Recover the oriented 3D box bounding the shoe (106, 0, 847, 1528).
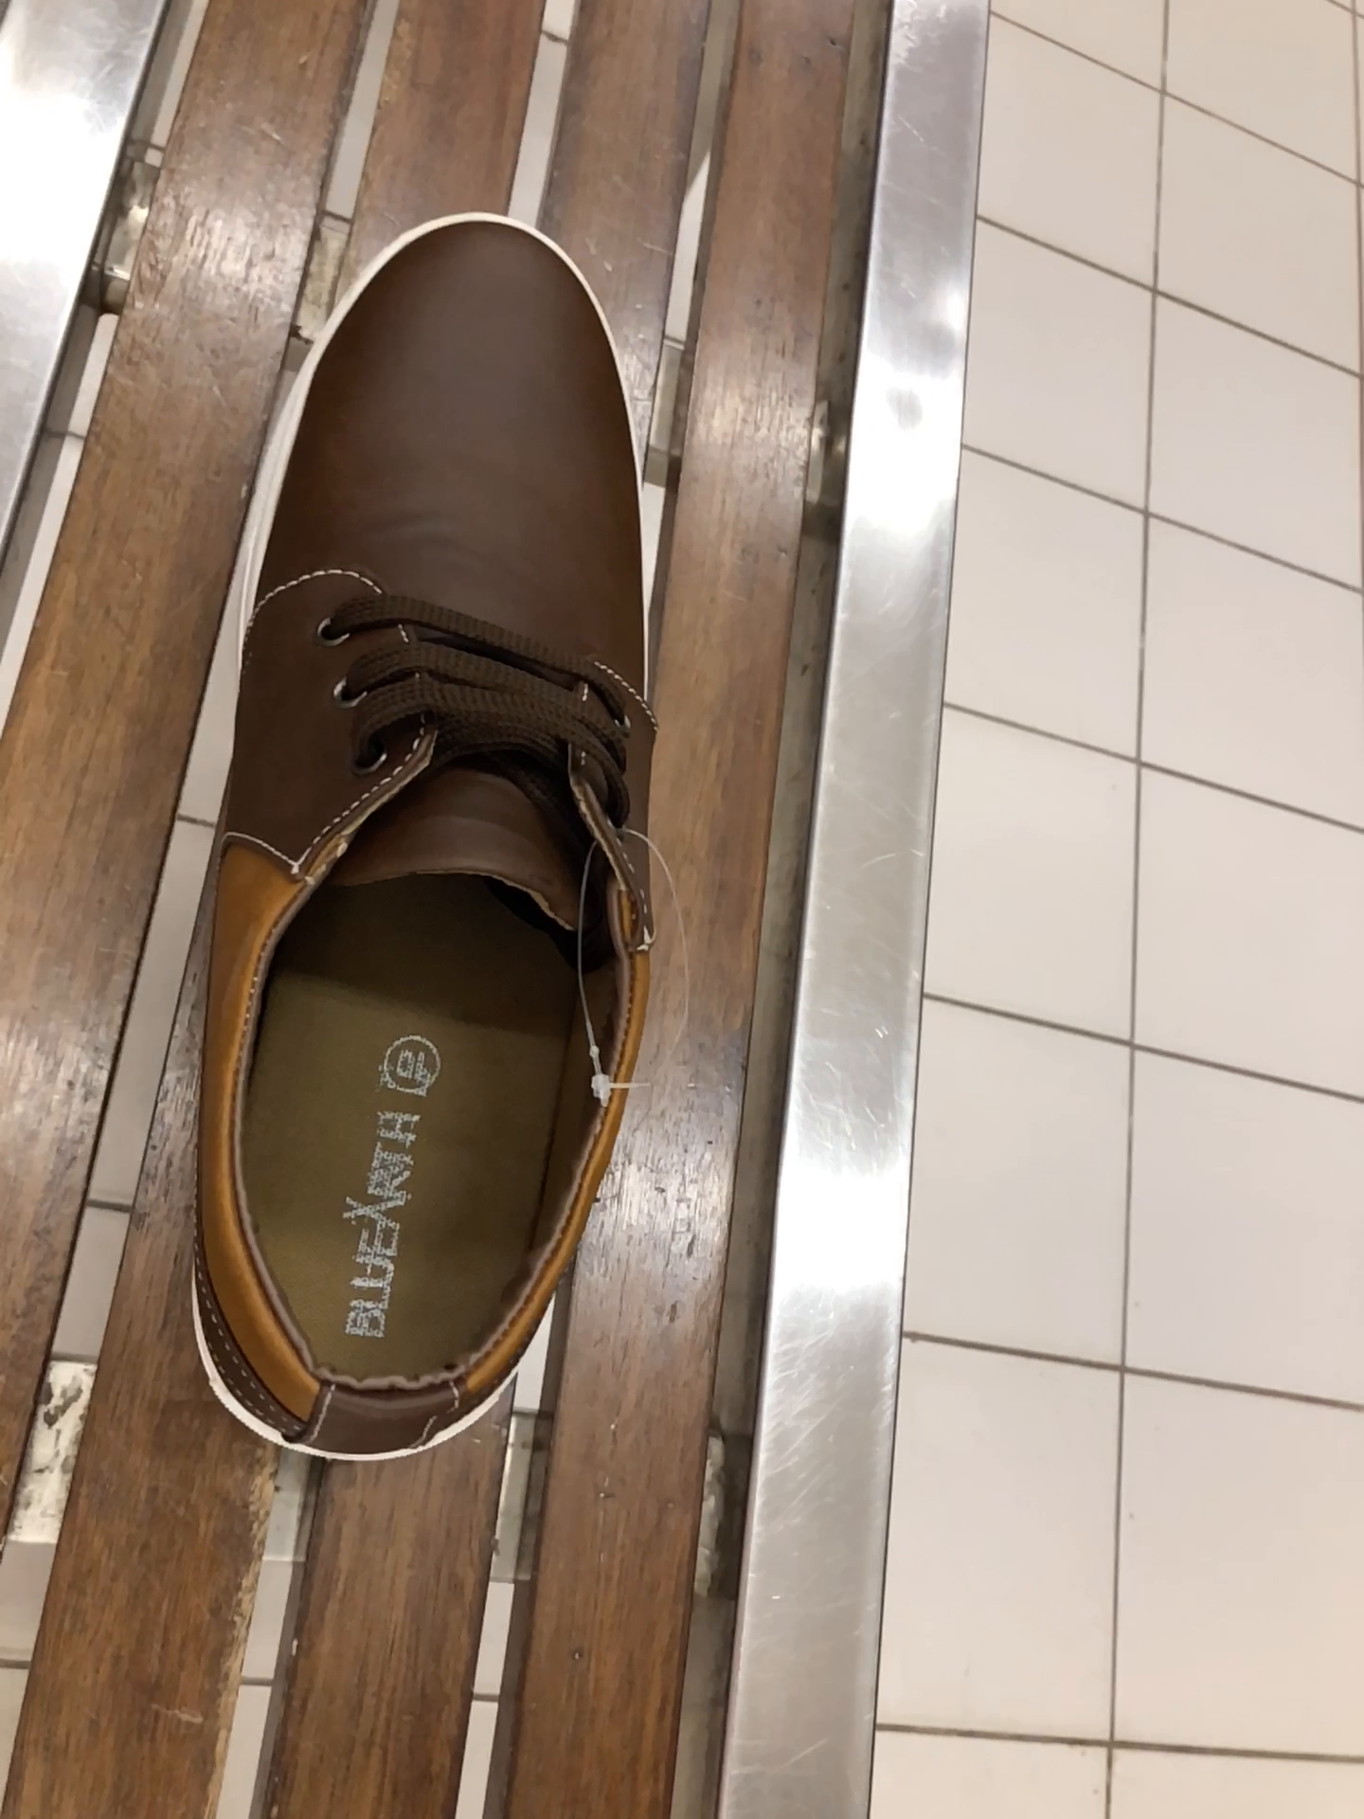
[{"bbox_3d":[-0.042,-0.039,0.333,0.109,0.114,0.312,10,71,-19],"label":"shoe"}]
